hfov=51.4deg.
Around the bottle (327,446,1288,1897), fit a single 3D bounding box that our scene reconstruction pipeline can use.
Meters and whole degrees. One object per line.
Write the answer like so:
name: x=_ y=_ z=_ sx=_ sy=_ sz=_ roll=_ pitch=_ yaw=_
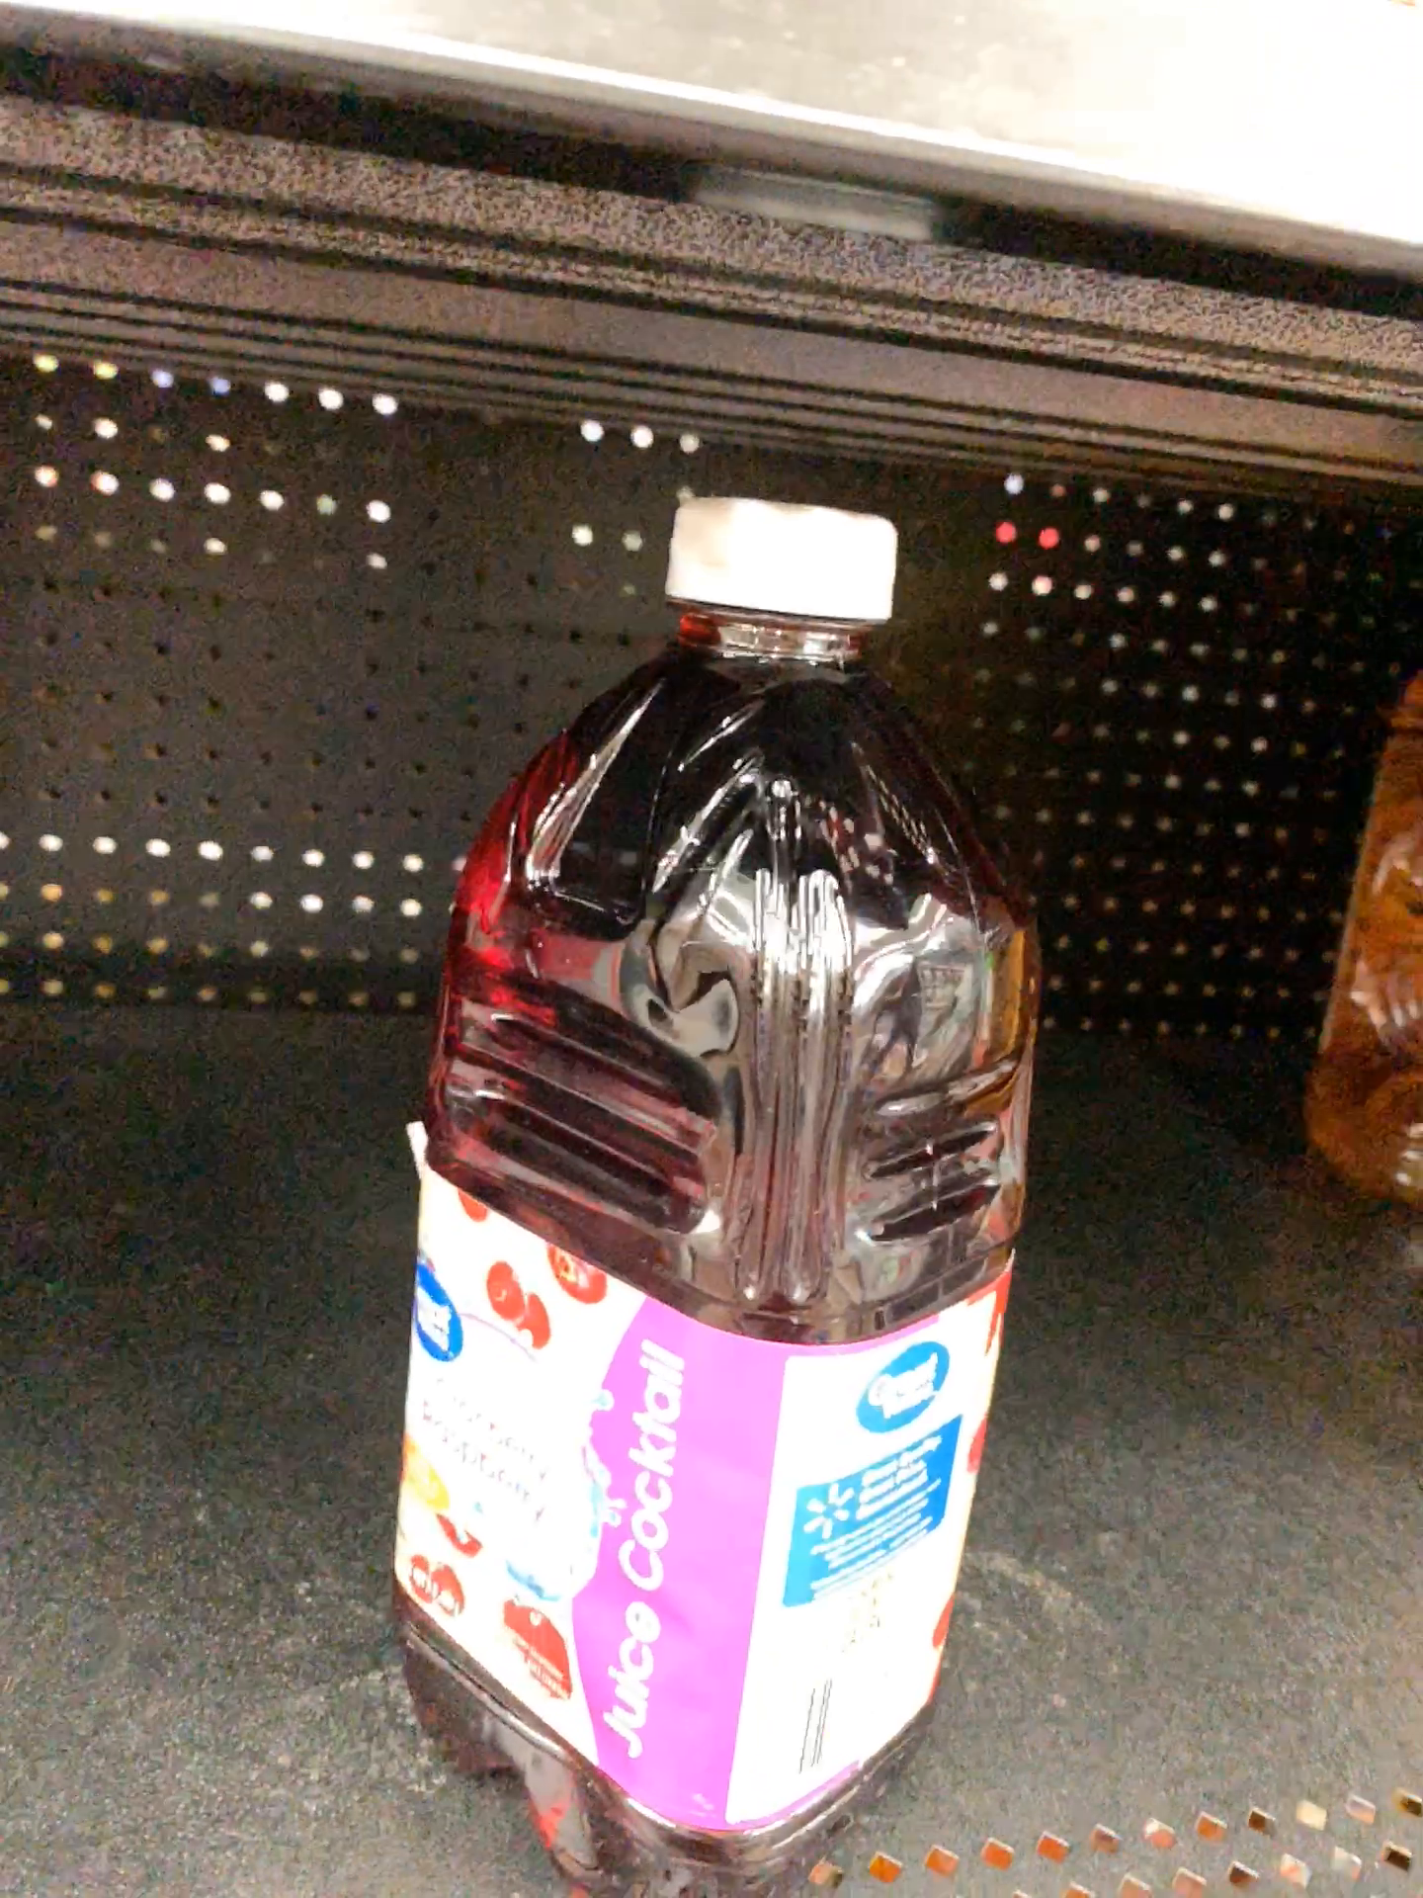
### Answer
bottle: x=0.006 y=0.044 z=0.296 sx=0.125 sy=0.259 sz=0.100 roll=20 pitch=22 yaw=38
